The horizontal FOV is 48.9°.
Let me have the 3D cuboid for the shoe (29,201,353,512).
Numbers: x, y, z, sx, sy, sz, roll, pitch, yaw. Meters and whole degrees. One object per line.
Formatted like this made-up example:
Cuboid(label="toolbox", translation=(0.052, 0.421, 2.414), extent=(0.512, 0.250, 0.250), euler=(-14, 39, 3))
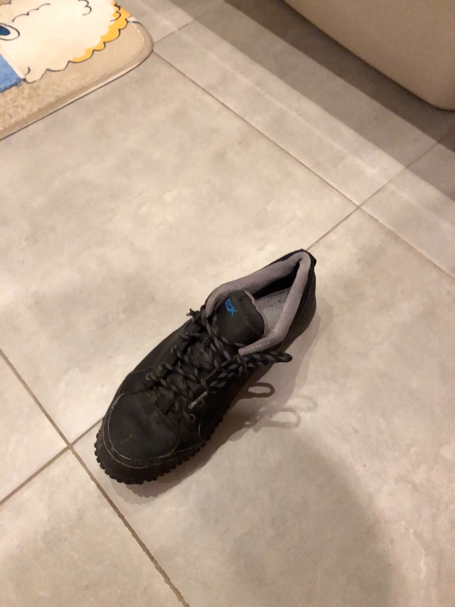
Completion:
Cuboid(label="shoe", translation=(-0.020, 0.045, 0.459), extent=(0.271, 0.110, 0.100), euler=(-41, 68, -17))
